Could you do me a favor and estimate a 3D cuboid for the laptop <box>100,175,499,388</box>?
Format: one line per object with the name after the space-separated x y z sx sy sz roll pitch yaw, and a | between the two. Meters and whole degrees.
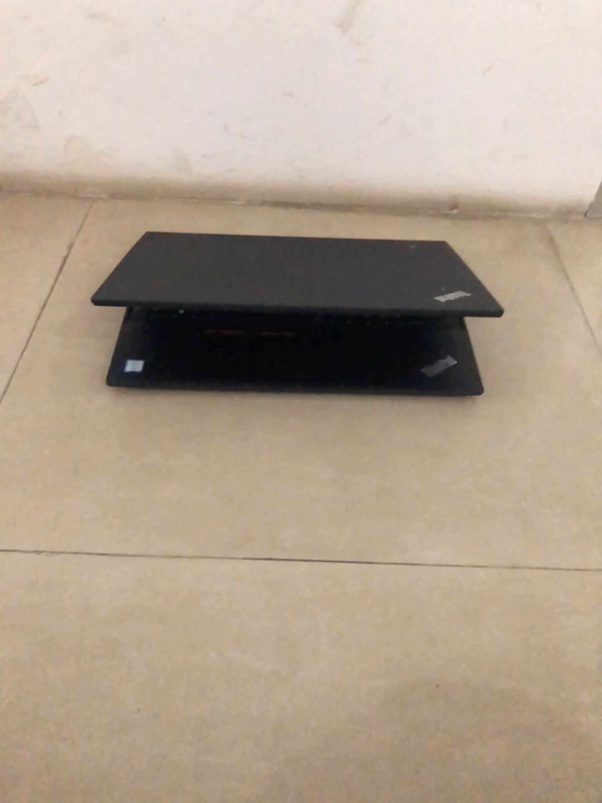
-0.002 -0.132 0.683 0.349 0.071 0.237 1 49 -1 | laptop
